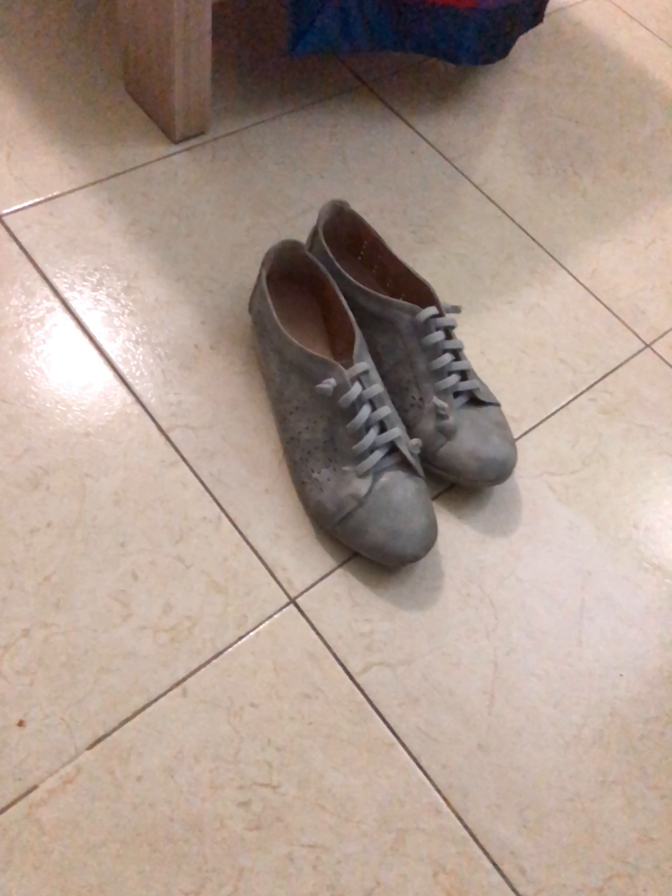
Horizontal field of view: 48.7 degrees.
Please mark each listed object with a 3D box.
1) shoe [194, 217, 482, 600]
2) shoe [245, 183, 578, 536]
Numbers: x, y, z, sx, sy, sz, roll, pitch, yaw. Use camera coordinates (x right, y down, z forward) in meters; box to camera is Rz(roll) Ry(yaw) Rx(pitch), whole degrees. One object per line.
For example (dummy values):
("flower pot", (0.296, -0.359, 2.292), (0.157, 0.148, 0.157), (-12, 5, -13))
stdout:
("shoe", (-0.014, -0.040, 0.607), (0.100, 0.100, 0.290), (-20, 66, -21))
("shoe", (0.050, -0.082, 0.637), (0.100, 0.100, 0.290), (-32, 71, -25))
